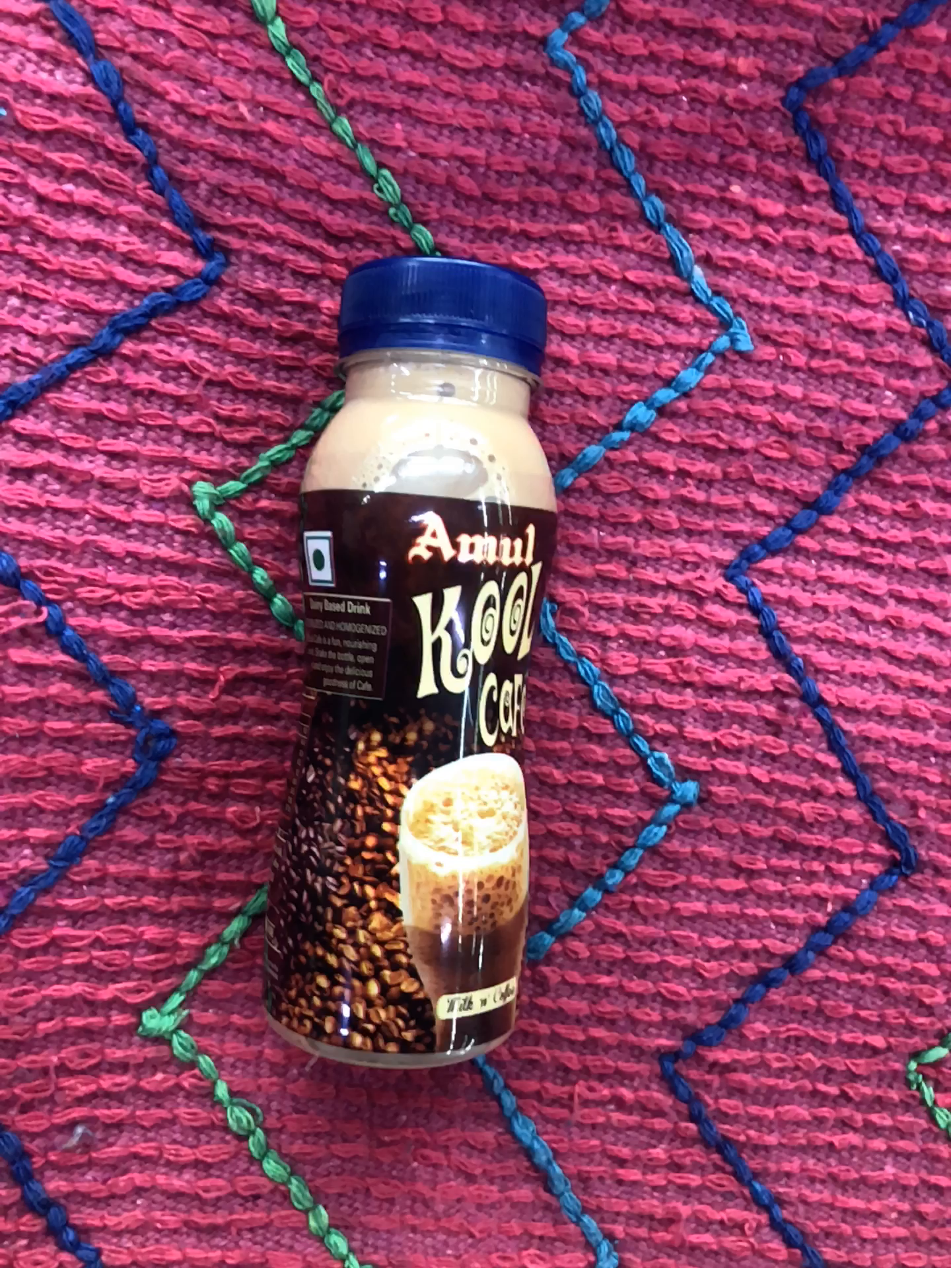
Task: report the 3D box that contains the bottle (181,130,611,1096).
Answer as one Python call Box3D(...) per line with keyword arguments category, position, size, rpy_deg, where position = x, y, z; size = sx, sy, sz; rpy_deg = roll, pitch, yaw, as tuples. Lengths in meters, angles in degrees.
Box3D(category="bottle", position=(-0.015, -0.004, 0.204), size=(0.050, 0.060, 0.150), rpy_deg=(1, 91, -49))
